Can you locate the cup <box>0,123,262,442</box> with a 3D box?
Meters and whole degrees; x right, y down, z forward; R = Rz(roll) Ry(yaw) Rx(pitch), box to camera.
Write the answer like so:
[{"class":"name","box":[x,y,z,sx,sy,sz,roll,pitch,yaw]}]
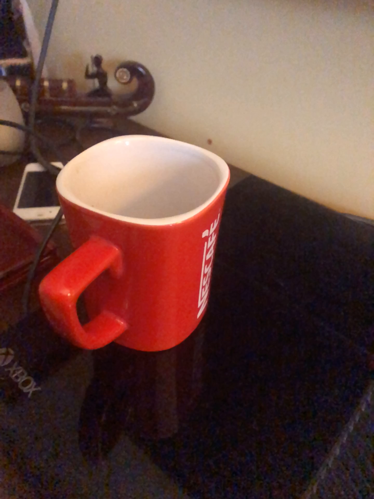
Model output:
[{"class":"cup","box":[-0.025,0.008,0.210,0.080,0.089,0.111,20,43,19]}]
